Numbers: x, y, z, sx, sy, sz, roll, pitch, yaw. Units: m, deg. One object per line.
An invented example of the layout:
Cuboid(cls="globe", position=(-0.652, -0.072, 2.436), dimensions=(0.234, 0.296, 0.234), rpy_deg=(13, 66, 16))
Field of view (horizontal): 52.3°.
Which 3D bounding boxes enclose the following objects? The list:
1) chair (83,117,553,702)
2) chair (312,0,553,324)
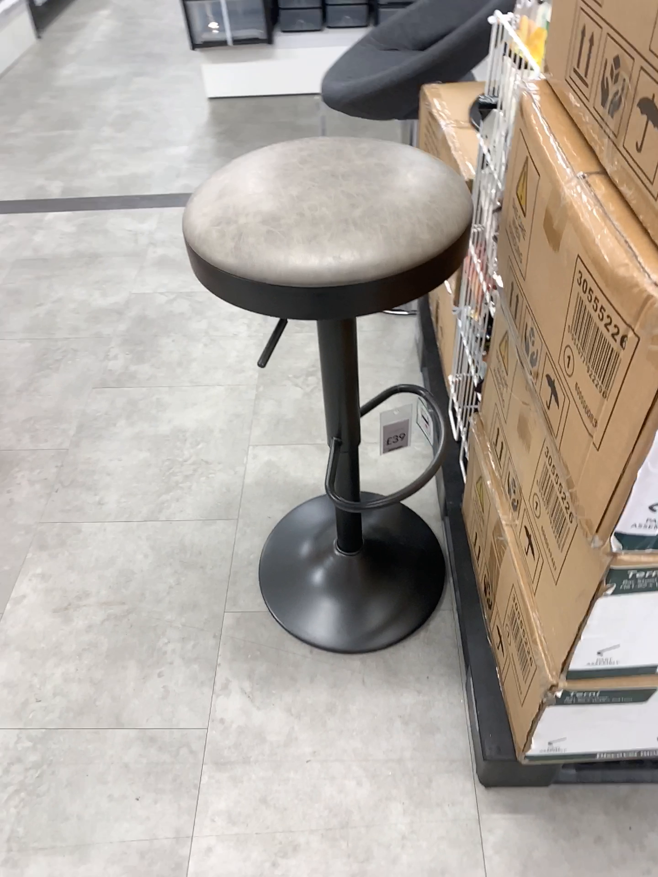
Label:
Cuboid(cls="chair", position=(0.038, -0.020, 1.062), dimensions=(0.433, 0.740, 0.461), rpy_deg=(12, 48, 15))
Cuboid(cls="chair", position=(0.229, -0.741, 1.705), dimensions=(0.453, 0.721, 0.512), rpy_deg=(1, 46, 5))
